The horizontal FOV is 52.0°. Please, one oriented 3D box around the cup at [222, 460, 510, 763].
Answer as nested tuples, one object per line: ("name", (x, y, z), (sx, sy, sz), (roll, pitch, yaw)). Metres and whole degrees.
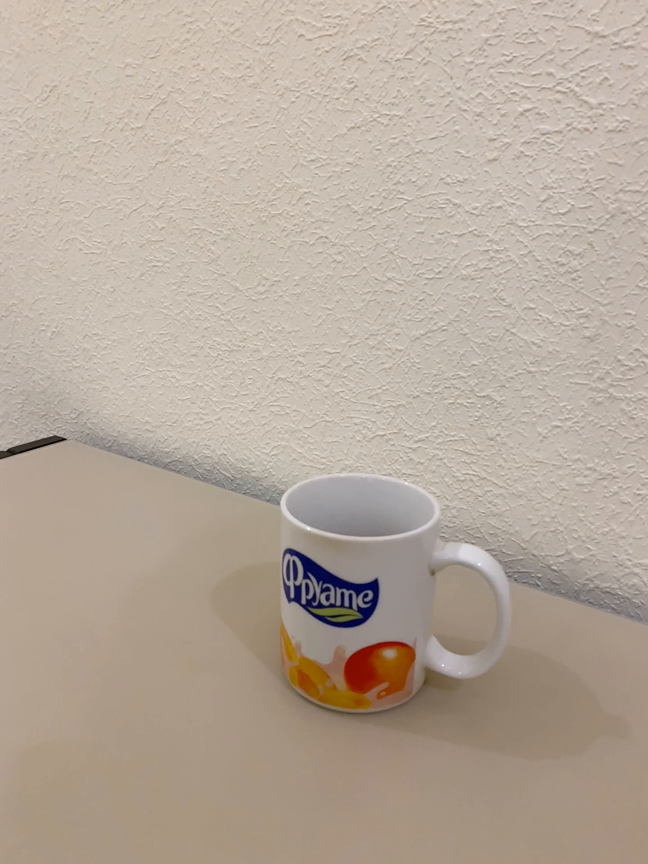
("cup", (0.022, 0.079, 0.328), (0.116, 0.092, 0.081), (9, 19, 21))
